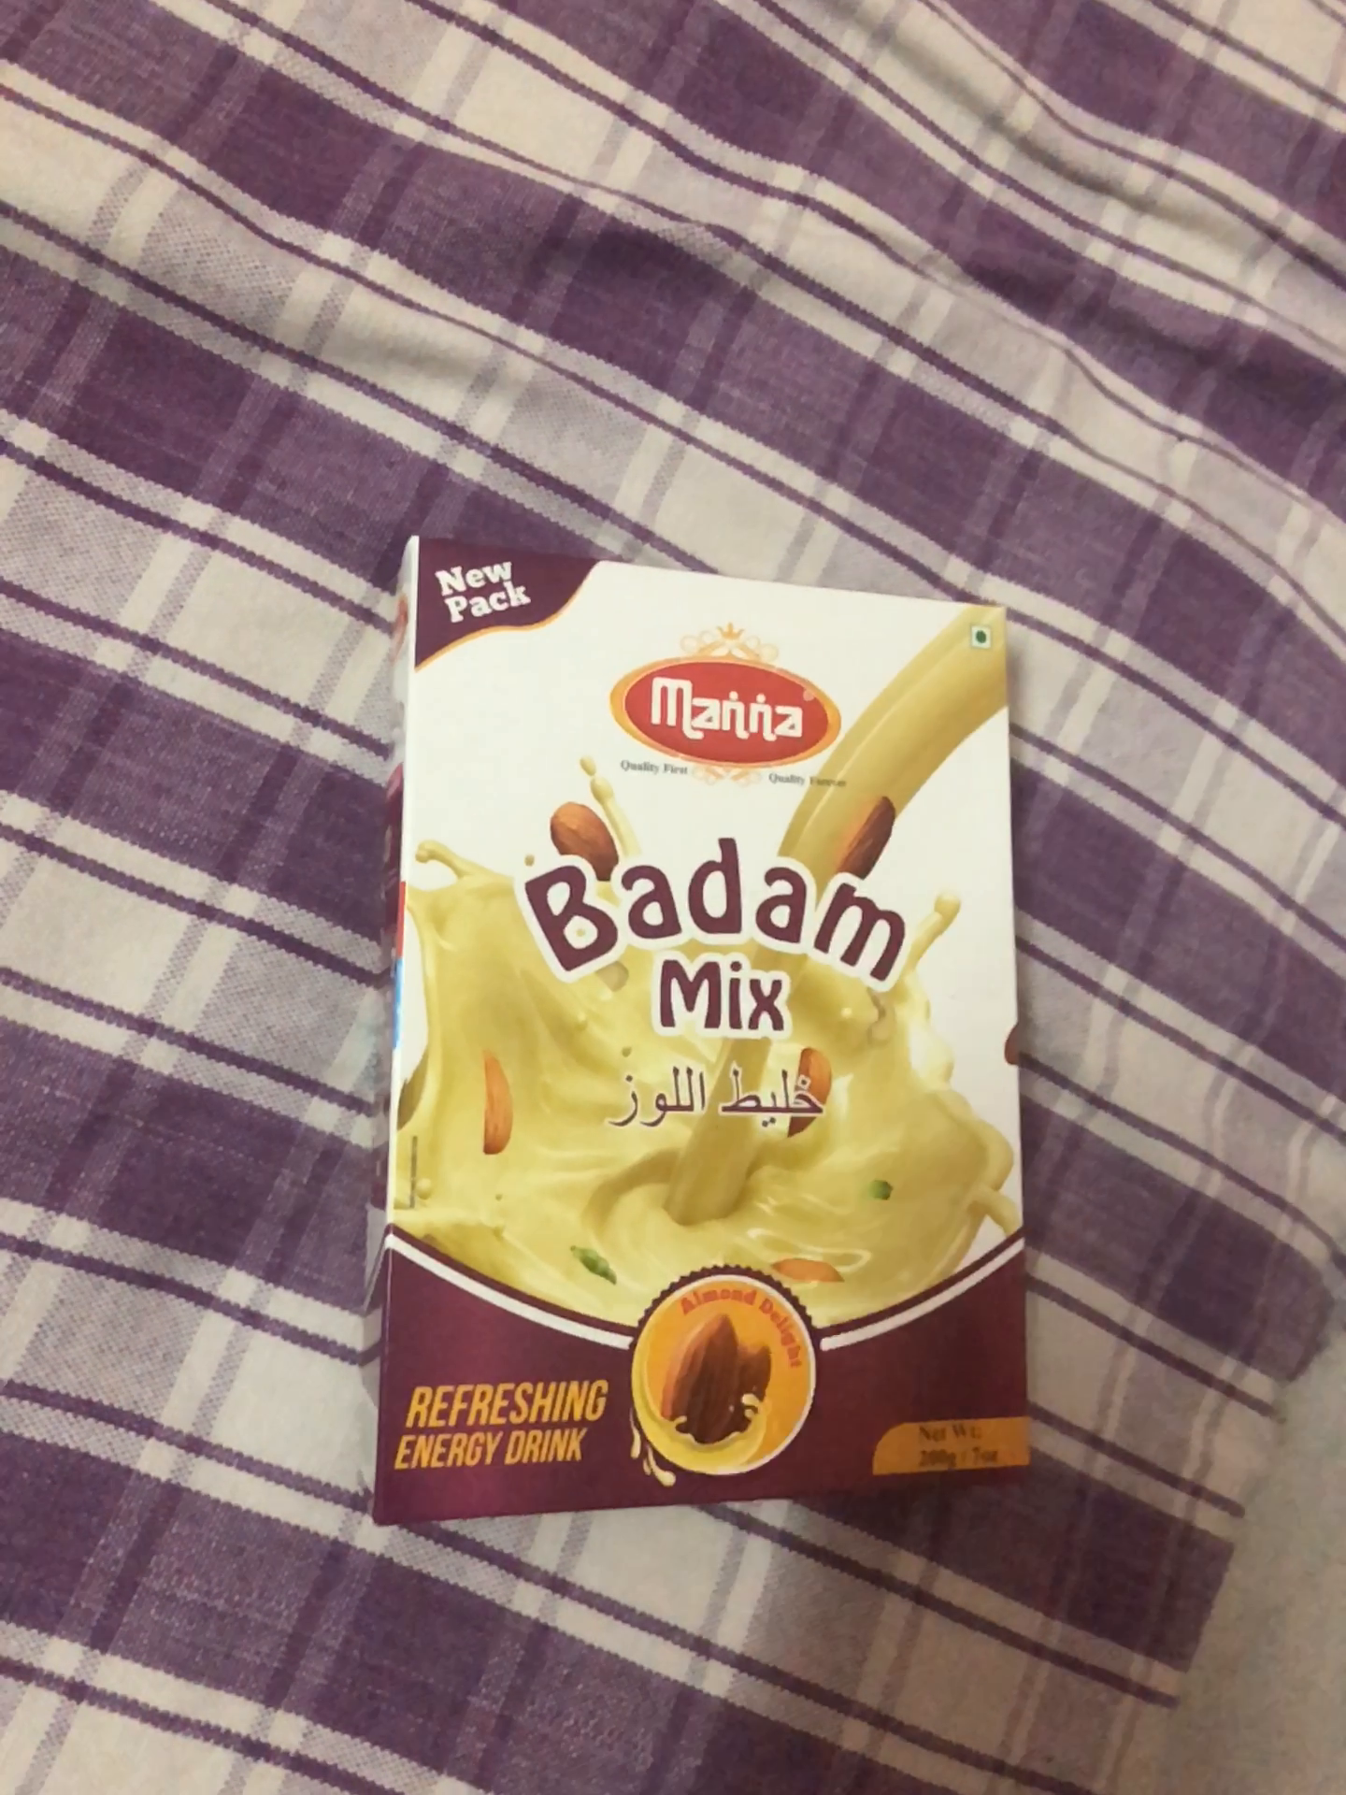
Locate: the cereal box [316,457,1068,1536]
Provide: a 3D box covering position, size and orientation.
[{"bbox_3d":[-0.001,0.016,0.292,0.130,0.050,0.180,0,81,-18],"label":"cereal box"}]
